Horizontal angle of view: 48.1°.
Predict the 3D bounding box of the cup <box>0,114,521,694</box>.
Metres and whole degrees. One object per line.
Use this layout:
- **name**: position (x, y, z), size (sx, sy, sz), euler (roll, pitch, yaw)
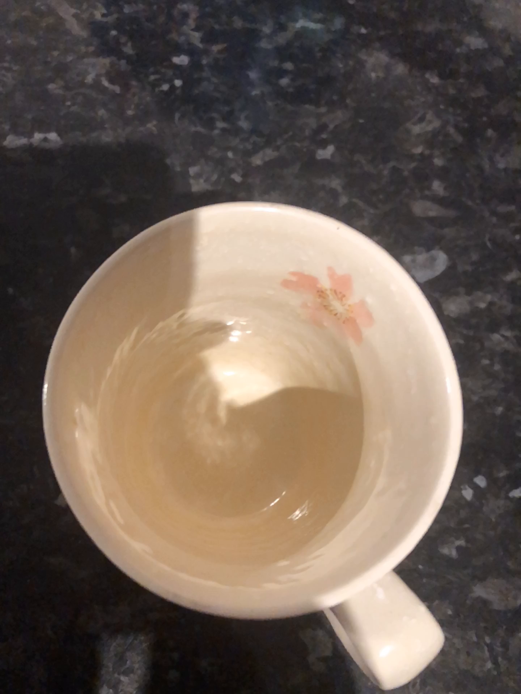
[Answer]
- **cup**: position (0.007, 0.036, 0.159), size (0.090, 0.100, 0.130), euler (-34, 80, -15)
